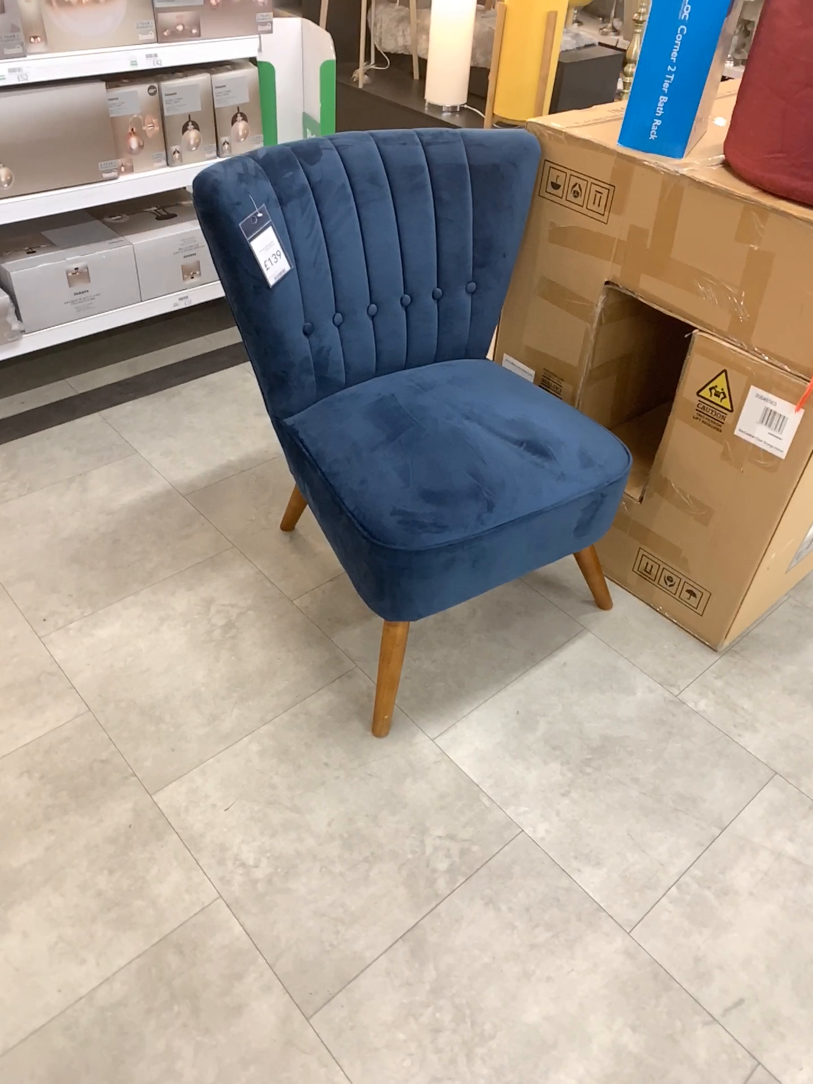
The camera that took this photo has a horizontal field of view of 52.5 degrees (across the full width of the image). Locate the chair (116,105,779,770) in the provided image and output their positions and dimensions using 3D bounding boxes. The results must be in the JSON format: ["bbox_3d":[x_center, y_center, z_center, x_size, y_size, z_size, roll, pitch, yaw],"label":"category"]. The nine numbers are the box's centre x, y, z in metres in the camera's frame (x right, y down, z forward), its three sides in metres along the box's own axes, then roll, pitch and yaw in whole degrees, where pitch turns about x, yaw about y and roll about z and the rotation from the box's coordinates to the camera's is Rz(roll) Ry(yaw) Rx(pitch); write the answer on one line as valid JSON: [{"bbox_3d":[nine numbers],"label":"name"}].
[{"bbox_3d":[0.020,-0.245,1.523,0.732,0.789,0.730,-23,48,-28],"label":"chair"}]
